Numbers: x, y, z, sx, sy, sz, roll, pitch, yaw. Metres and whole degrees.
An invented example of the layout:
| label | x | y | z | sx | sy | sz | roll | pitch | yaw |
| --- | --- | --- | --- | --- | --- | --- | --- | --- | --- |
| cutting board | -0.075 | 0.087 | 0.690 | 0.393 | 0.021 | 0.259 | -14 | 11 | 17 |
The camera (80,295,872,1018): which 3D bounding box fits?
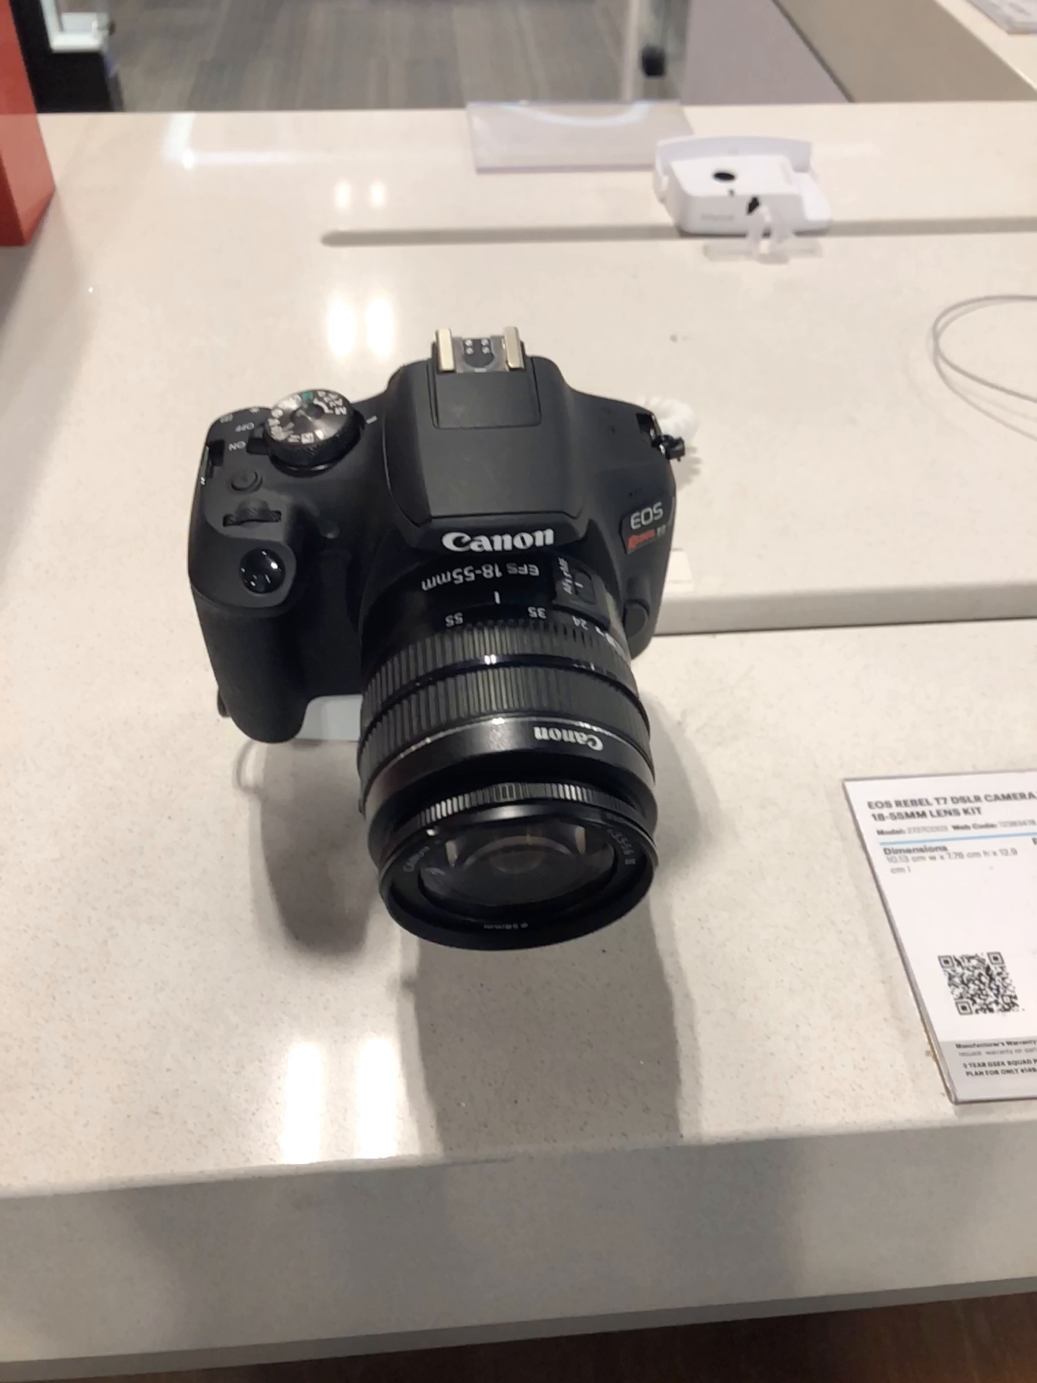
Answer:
| label | x | y | z | sx | sy | sz | roll | pitch | yaw |
| --- | --- | --- | --- | --- | --- | --- | --- | --- | --- |
| camera | -0.015 | -0.017 | 0.286 | 0.140 | 0.089 | 0.151 | -5 | 46 | -6 |
